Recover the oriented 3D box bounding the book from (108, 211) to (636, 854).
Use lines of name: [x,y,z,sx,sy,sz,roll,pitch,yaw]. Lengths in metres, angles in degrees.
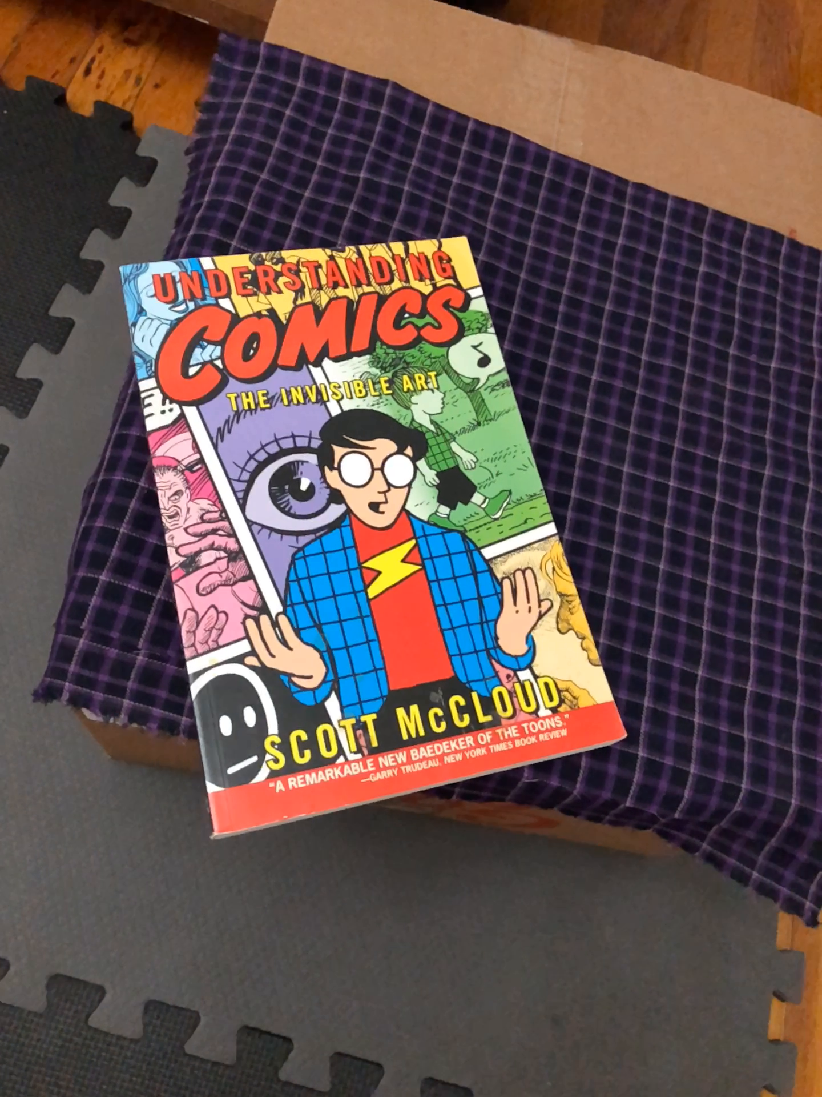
book: [-0.025,-0.027,0.395,0.170,0.020,0.270,-9,71,-15]
